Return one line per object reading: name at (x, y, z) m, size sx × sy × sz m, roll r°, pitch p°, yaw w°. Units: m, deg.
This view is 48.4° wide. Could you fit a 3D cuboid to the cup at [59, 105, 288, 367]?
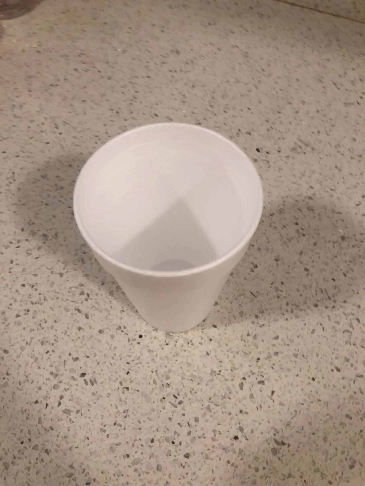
cup at (-0.008, 0.004, 0.238) m, size 0.088 × 0.119 × 0.090 m, roll -1°, pitch 60°, yaw 1°
